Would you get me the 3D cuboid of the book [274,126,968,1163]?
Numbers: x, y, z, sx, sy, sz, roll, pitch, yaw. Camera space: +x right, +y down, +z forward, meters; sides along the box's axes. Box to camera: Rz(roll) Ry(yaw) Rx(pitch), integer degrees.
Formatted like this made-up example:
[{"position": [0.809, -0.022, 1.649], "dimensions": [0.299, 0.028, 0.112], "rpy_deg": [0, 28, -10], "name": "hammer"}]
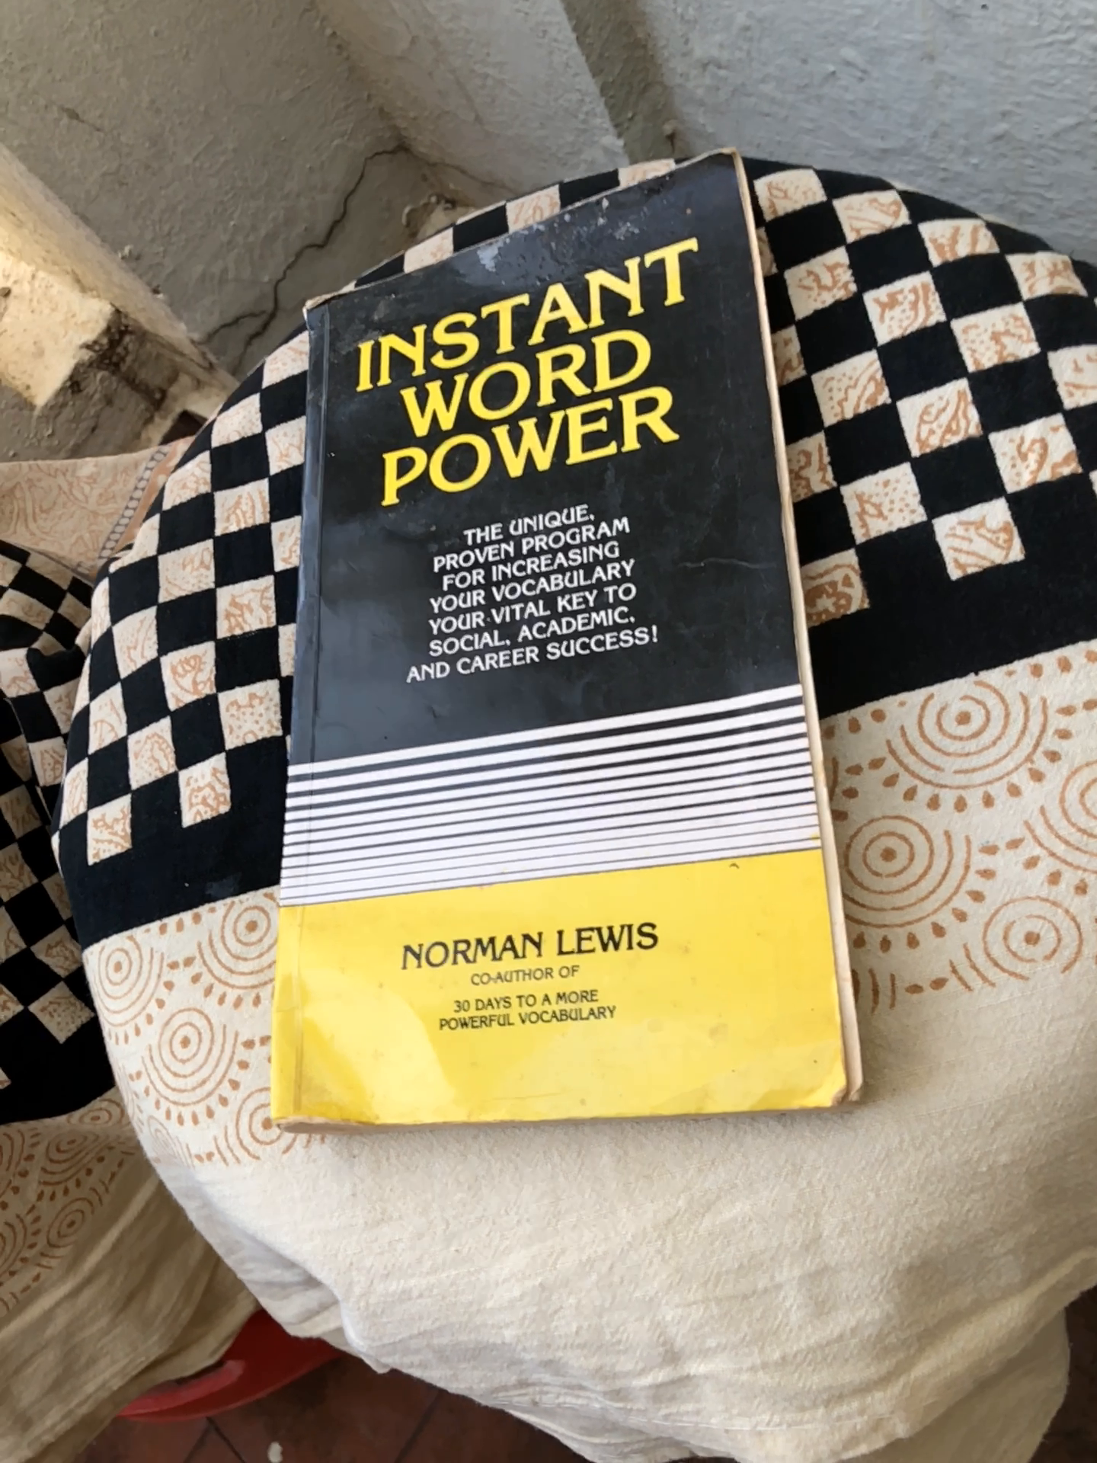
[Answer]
[{"position": [0.014, -0.037, 0.360], "dimensions": [0.160, 0.040, 0.300], "rpy_deg": [-11, 60, 20], "name": "book"}]
